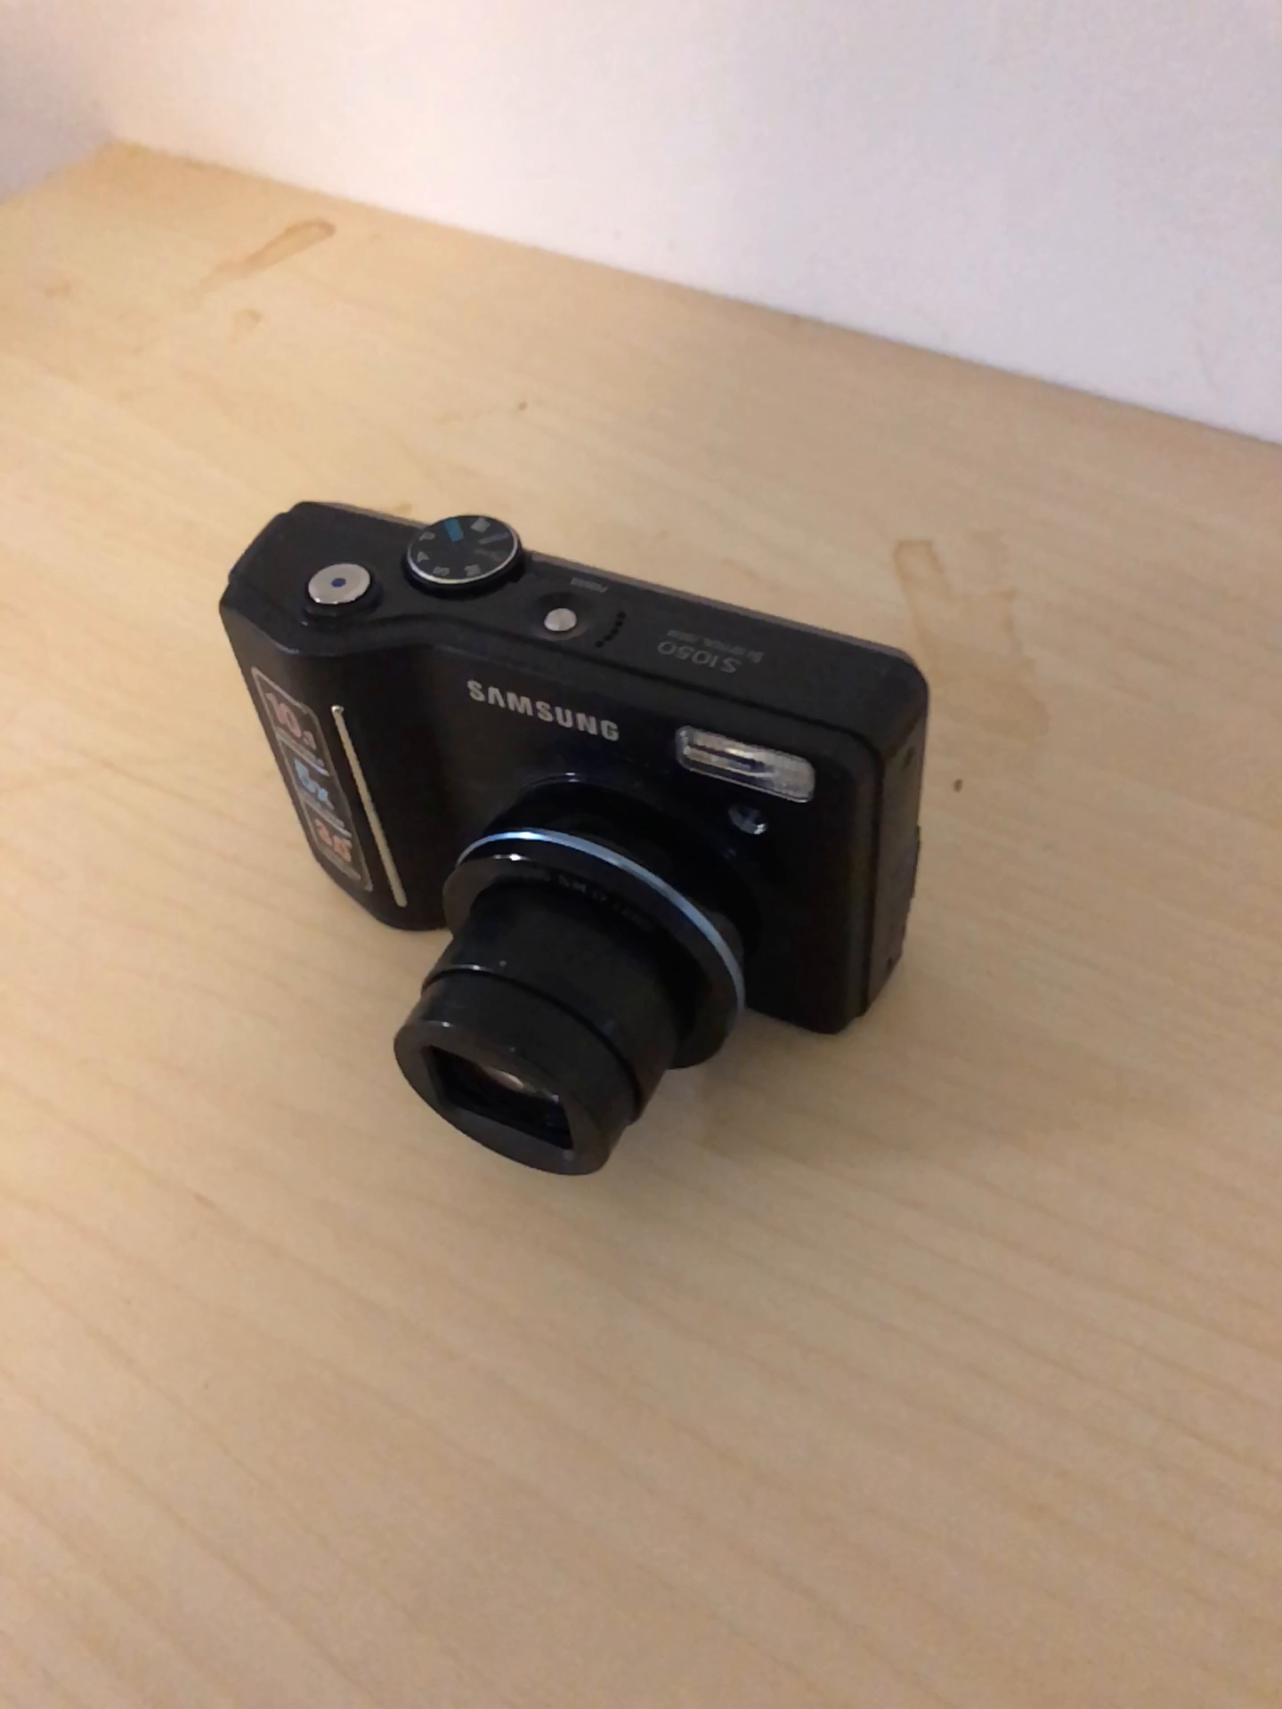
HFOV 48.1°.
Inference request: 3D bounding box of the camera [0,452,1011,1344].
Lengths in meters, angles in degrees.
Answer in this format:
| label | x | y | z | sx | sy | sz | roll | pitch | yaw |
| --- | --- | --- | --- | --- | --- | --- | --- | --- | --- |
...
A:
| label | x | y | z | sx | sy | sz | roll | pitch | yaw |
| --- | --- | --- | --- | --- | --- | --- | --- | --- | --- |
| camera | -0.015 | 0.003 | 0.206 | 0.110 | 0.070 | 0.070 | 19 | 55 | 21 |
